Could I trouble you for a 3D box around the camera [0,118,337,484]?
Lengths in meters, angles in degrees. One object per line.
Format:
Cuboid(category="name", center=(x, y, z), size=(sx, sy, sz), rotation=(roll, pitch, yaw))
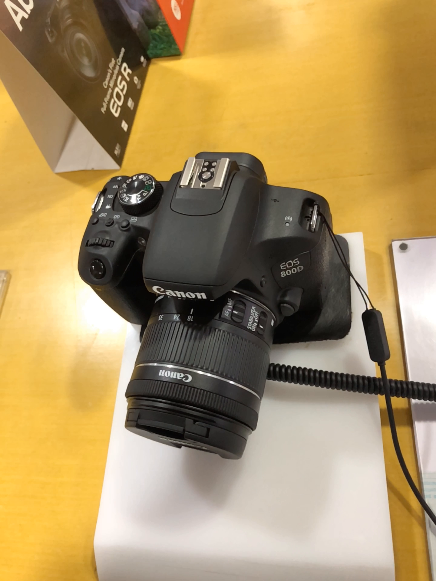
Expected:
Cuboid(category="camera", center=(-0.015, 0.003, 0.224), size=(0.120, 0.090, 0.130), rotation=(6, 65, 18))
